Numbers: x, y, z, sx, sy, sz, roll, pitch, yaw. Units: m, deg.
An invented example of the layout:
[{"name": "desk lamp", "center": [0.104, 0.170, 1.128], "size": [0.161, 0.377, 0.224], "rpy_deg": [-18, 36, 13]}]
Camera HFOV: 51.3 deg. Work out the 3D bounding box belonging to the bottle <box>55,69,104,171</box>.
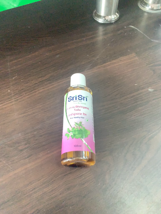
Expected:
[{"name": "bottle", "center": [-0.001, 0.012, 0.221], "size": [0.050, 0.040, 0.130], "rpy_deg": [0, 59, 1]}]
